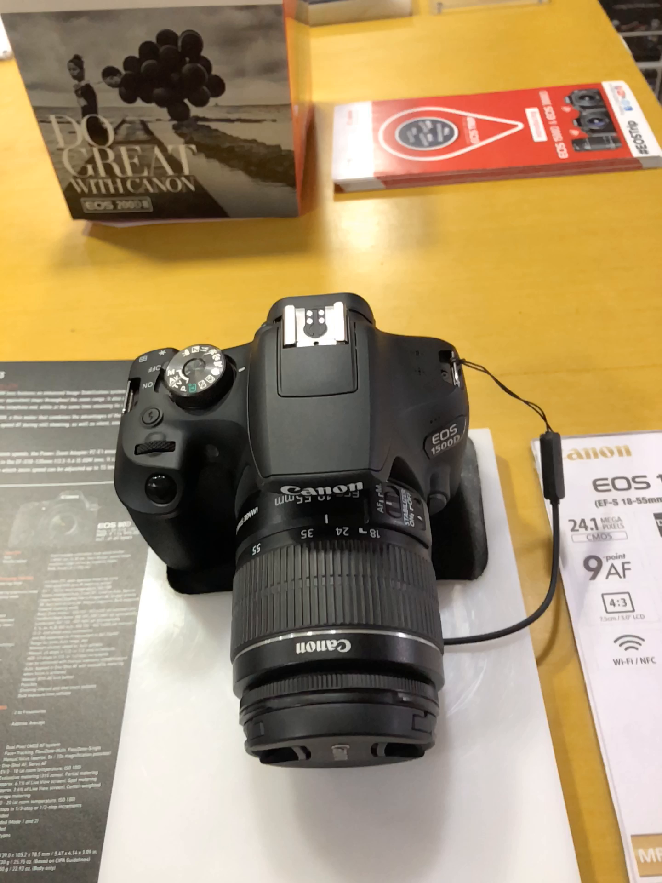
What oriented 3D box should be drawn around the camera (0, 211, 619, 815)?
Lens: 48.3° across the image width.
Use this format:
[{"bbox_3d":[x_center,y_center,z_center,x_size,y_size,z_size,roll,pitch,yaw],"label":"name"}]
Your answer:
[{"bbox_3d":[-0.015,0.018,0.216,0.140,0.090,0.141,-4,50,3],"label":"camera"}]
